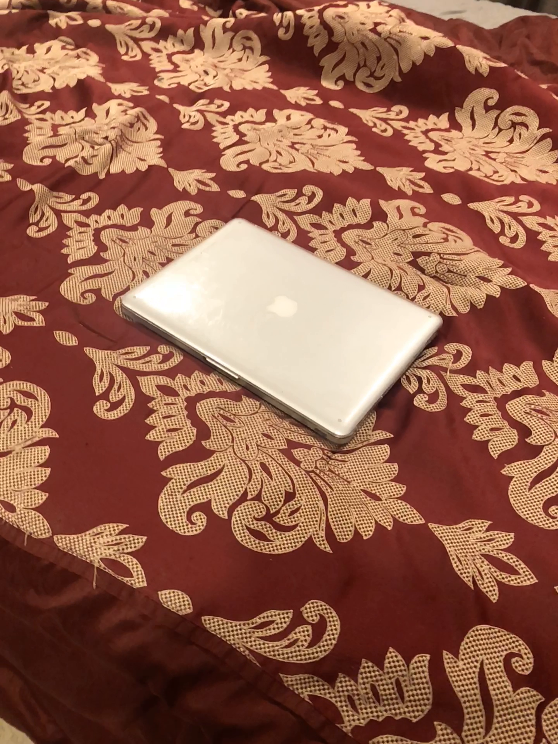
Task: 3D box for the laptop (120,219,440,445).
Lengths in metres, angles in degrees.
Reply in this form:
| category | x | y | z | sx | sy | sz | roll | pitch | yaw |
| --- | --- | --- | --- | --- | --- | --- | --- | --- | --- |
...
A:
| category | x | y | z | sx | sy | sz | roll | pitch | yaw |
| --- | --- | --- | --- | --- | --- | --- | --- | --- | --- |
| laptop | -0.001 | -0.067 | 0.705 | 0.304 | 0.015 | 0.208 | 30 | 54 | 23 |
